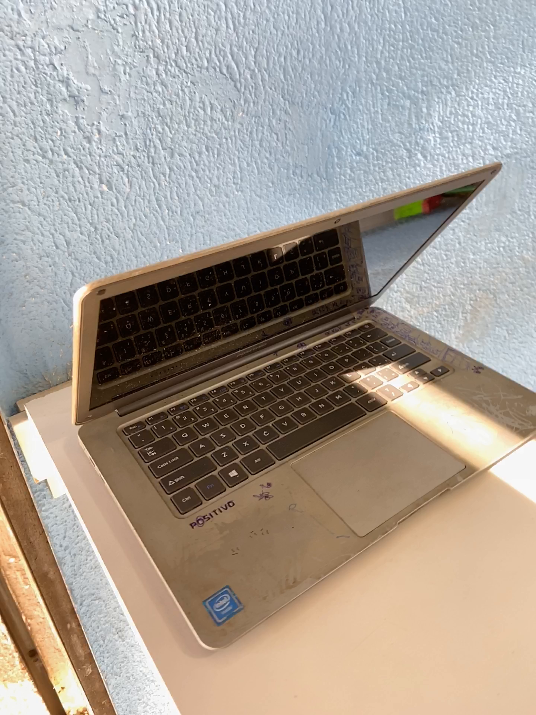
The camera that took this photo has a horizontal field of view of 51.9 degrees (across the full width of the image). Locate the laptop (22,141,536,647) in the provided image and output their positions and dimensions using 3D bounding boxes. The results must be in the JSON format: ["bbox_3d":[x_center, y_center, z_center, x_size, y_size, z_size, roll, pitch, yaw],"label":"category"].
[{"bbox_3d":[0.043,-0.021,0.394,0.327,0.167,0.212,-22,39,-28],"label":"laptop"}]
